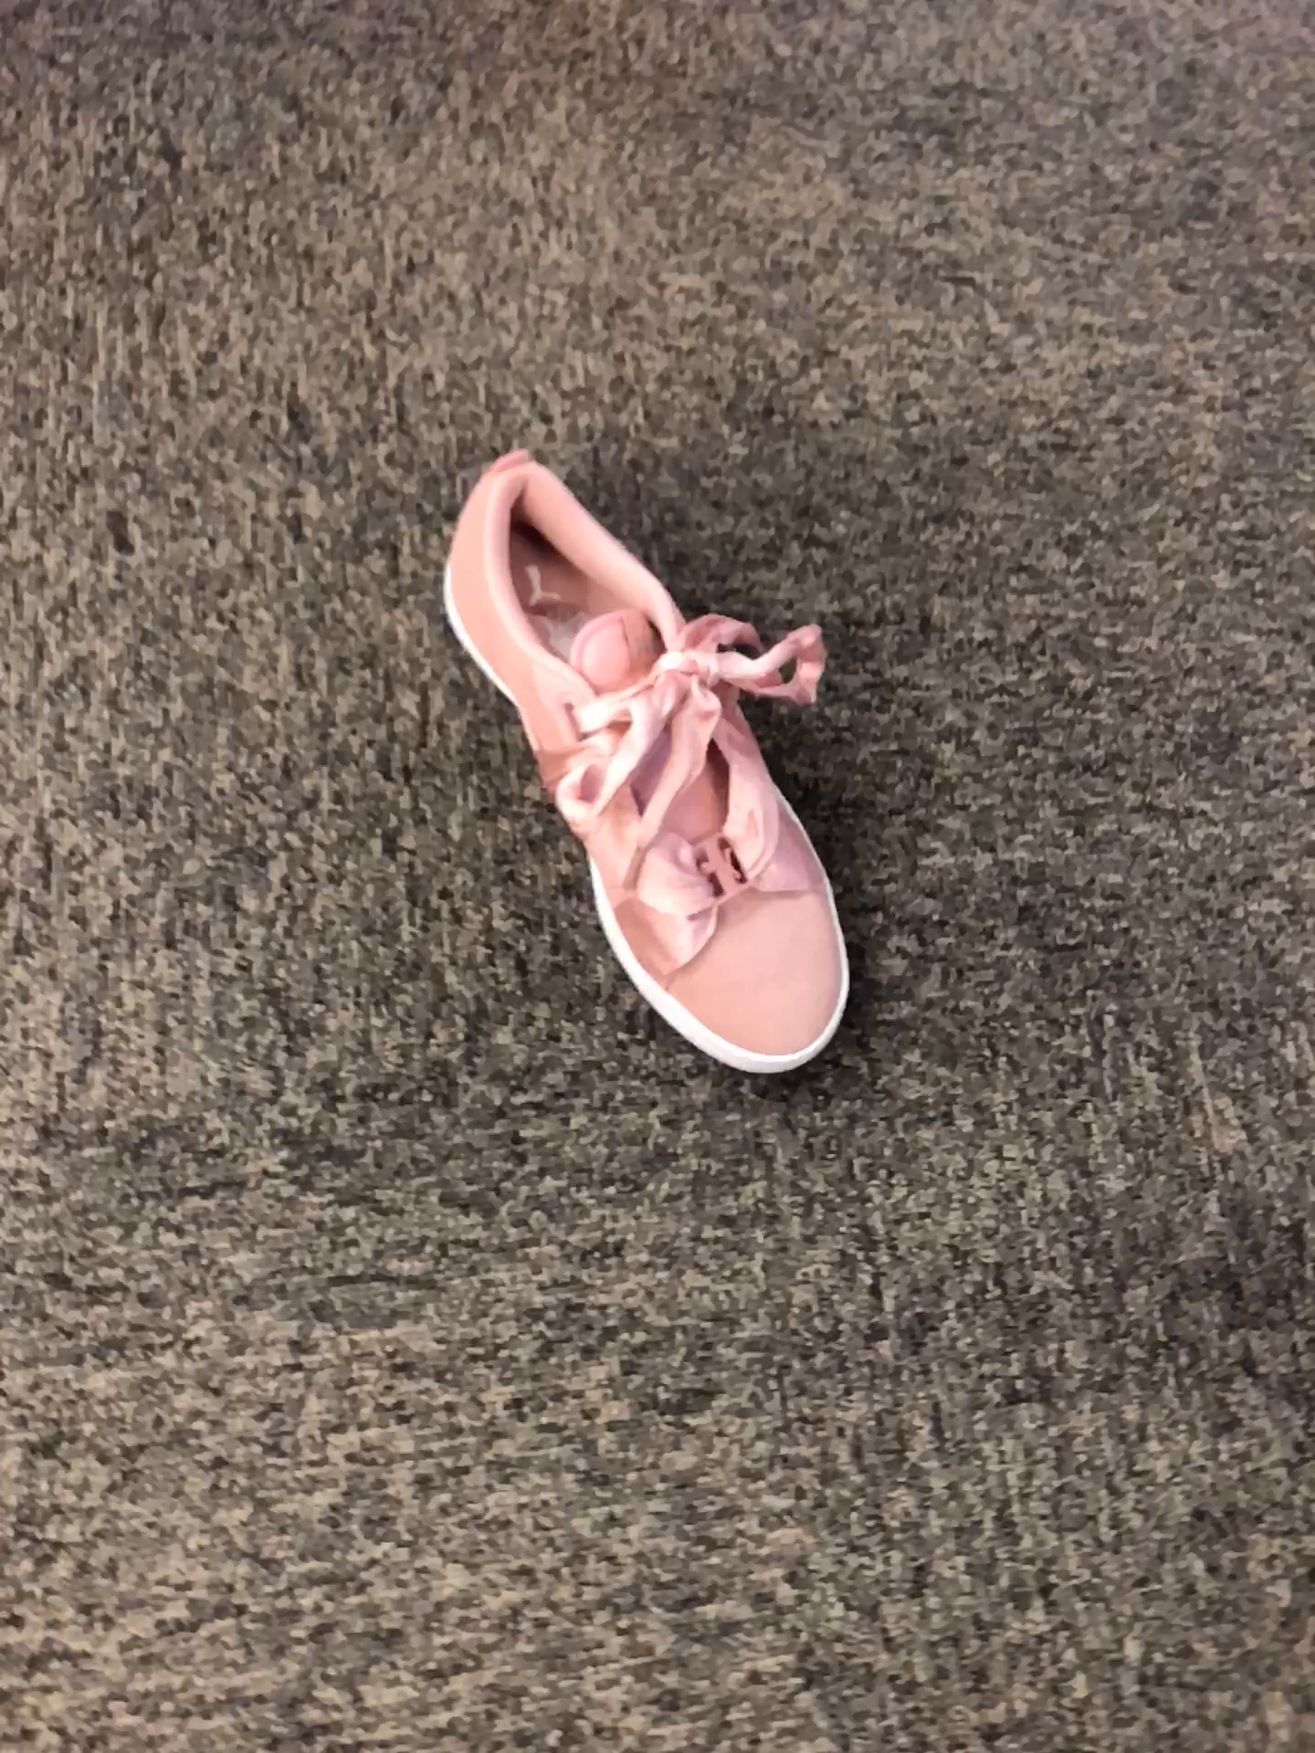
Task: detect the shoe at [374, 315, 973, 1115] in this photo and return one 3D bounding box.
[{"bbox_3d":[-0.003,-0.054,0.543,0.100,0.100,0.262,-24,85,-17],"label":"shoe"}]
